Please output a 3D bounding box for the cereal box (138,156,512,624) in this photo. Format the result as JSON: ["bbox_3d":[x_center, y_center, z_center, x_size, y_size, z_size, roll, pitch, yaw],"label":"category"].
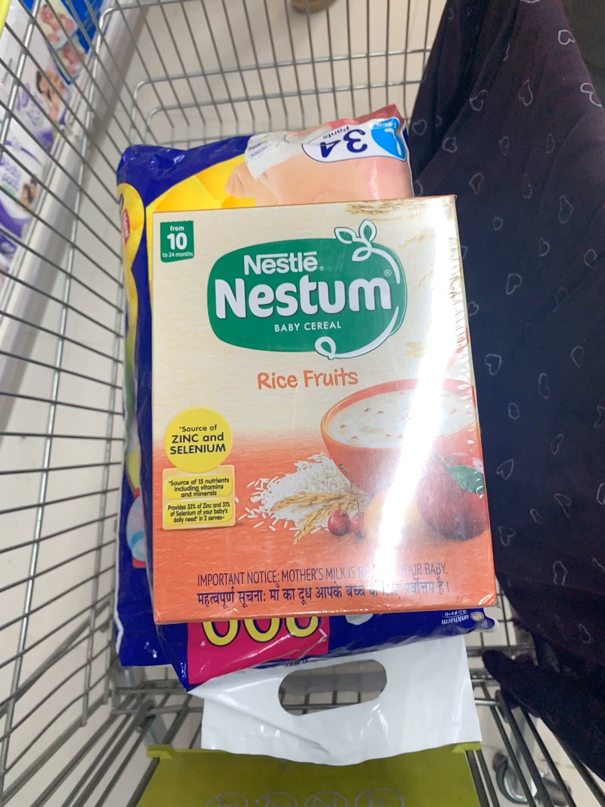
[{"bbox_3d":[0.005,-0.008,0.311,0.160,0.050,0.210,-3,80,2],"label":"cereal box"}]
